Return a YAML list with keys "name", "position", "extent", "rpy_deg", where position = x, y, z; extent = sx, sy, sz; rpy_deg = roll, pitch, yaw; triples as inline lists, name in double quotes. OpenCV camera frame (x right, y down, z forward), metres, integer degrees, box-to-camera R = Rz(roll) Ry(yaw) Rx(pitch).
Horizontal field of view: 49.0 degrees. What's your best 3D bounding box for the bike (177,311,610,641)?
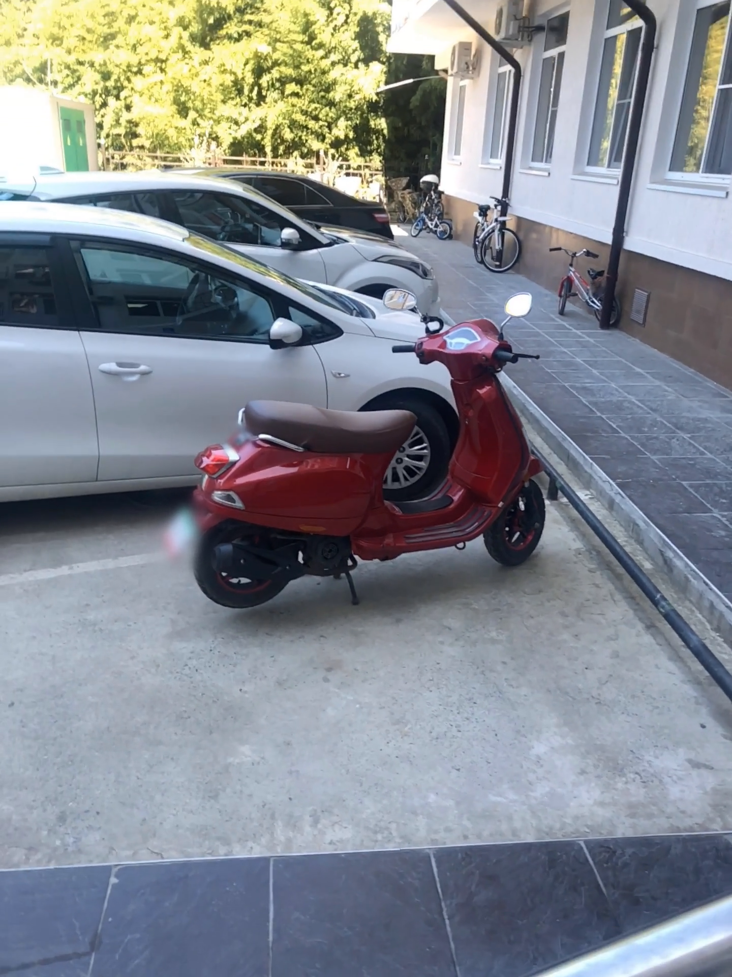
- name: "bike"
  position: [0.108, -0.126, 3.198]
  extent: [1.595, 0.951, 0.536]
  rpy_deg: [-9, 25, -24]
